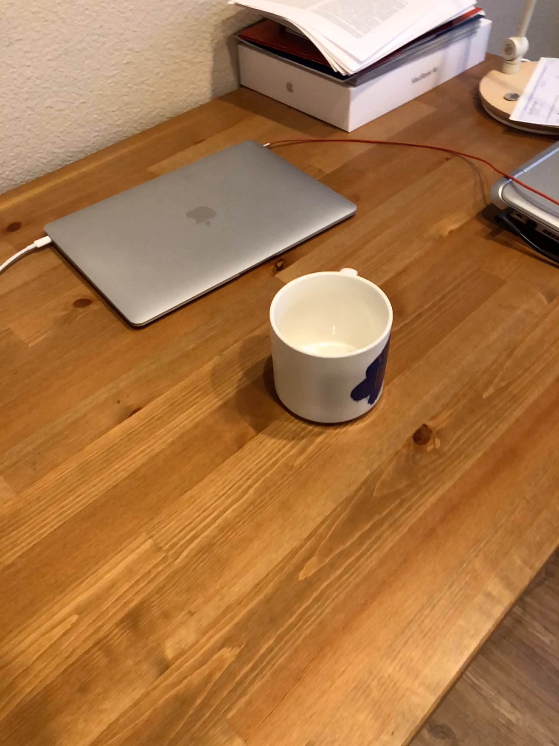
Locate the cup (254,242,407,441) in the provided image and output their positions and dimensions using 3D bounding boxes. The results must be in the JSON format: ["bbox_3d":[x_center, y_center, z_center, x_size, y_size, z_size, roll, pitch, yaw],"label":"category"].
[{"bbox_3d":[0.046,-0.030,0.525,0.100,0.090,0.130,9,49,11],"label":"cup"}]
